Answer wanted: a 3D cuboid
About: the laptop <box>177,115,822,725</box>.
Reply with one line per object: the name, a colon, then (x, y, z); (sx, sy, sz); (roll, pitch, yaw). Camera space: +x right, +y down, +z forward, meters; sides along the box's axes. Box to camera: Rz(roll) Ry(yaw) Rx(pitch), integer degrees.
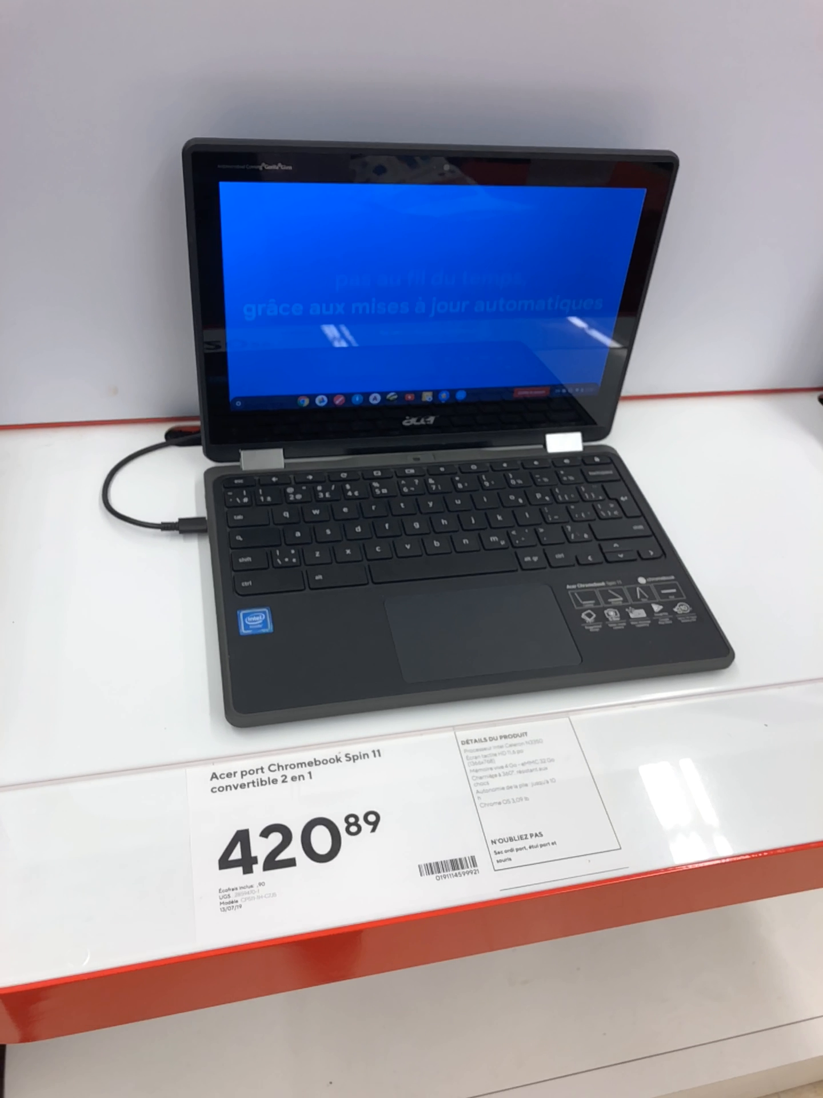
laptop: (0.031, -0.084, 0.516); (0.289, 0.198, 0.253); (-5, 48, -13)
